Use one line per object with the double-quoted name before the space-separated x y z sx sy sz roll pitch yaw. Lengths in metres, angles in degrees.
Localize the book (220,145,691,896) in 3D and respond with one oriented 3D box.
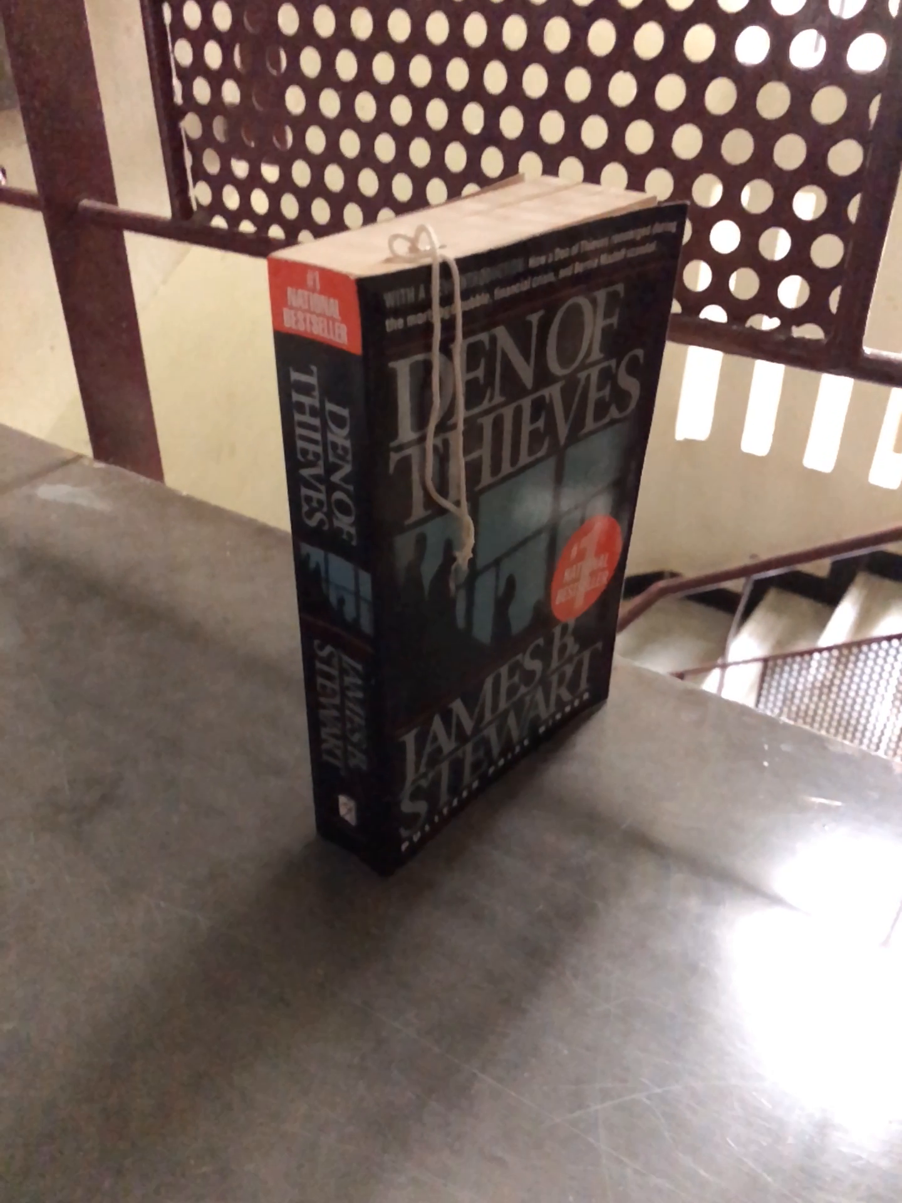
"book" 0.011 -0.033 0.364 0.050 0.219 0.171 23 39 31
